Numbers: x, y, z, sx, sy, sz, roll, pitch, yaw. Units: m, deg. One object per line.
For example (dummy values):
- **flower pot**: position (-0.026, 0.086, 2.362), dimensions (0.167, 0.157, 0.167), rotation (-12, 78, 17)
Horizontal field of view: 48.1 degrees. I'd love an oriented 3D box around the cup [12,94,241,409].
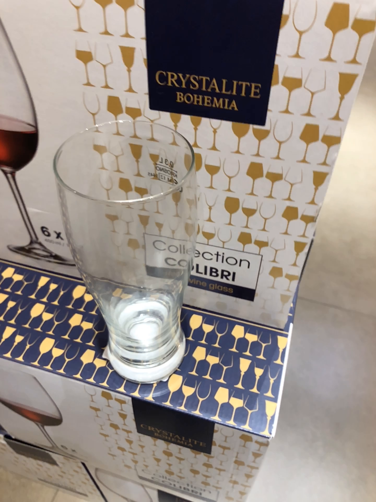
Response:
- **cup**: position (-0.025, 0.011, 0.265), dimensions (0.080, 0.179, 0.080), rotation (0, 47, 0)
